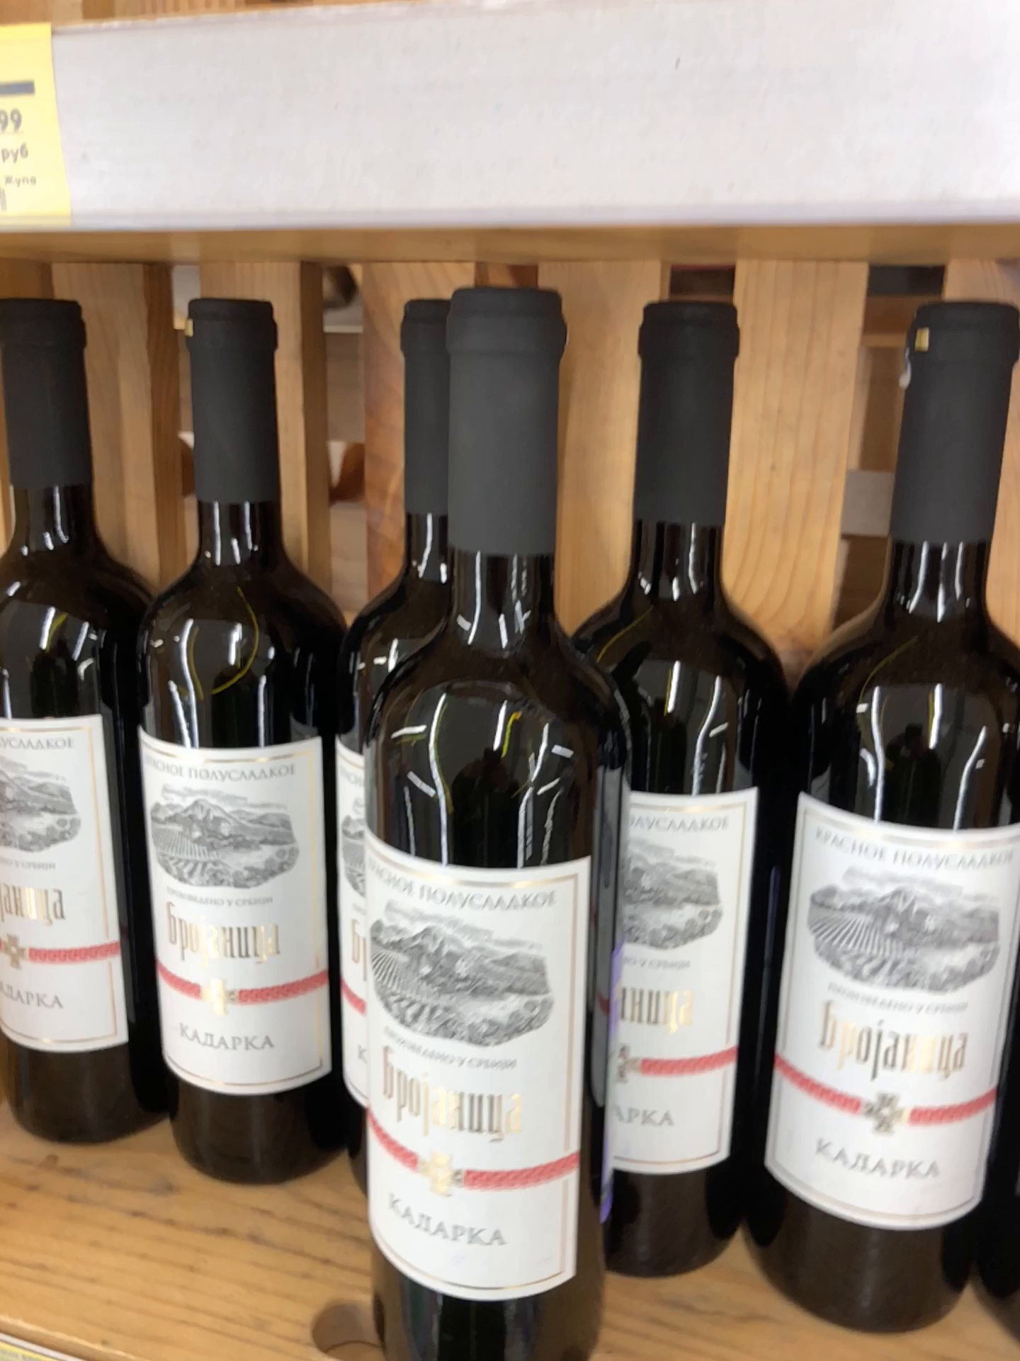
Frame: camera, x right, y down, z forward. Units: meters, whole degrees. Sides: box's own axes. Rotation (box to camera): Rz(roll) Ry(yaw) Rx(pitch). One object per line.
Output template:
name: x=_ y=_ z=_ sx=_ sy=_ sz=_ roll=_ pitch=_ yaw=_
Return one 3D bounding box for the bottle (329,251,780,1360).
bottle: x=0.008 y=0.058 z=0.293 sx=0.080 sy=0.080 sz=0.309 roll=8 pitch=107 yaw=17
